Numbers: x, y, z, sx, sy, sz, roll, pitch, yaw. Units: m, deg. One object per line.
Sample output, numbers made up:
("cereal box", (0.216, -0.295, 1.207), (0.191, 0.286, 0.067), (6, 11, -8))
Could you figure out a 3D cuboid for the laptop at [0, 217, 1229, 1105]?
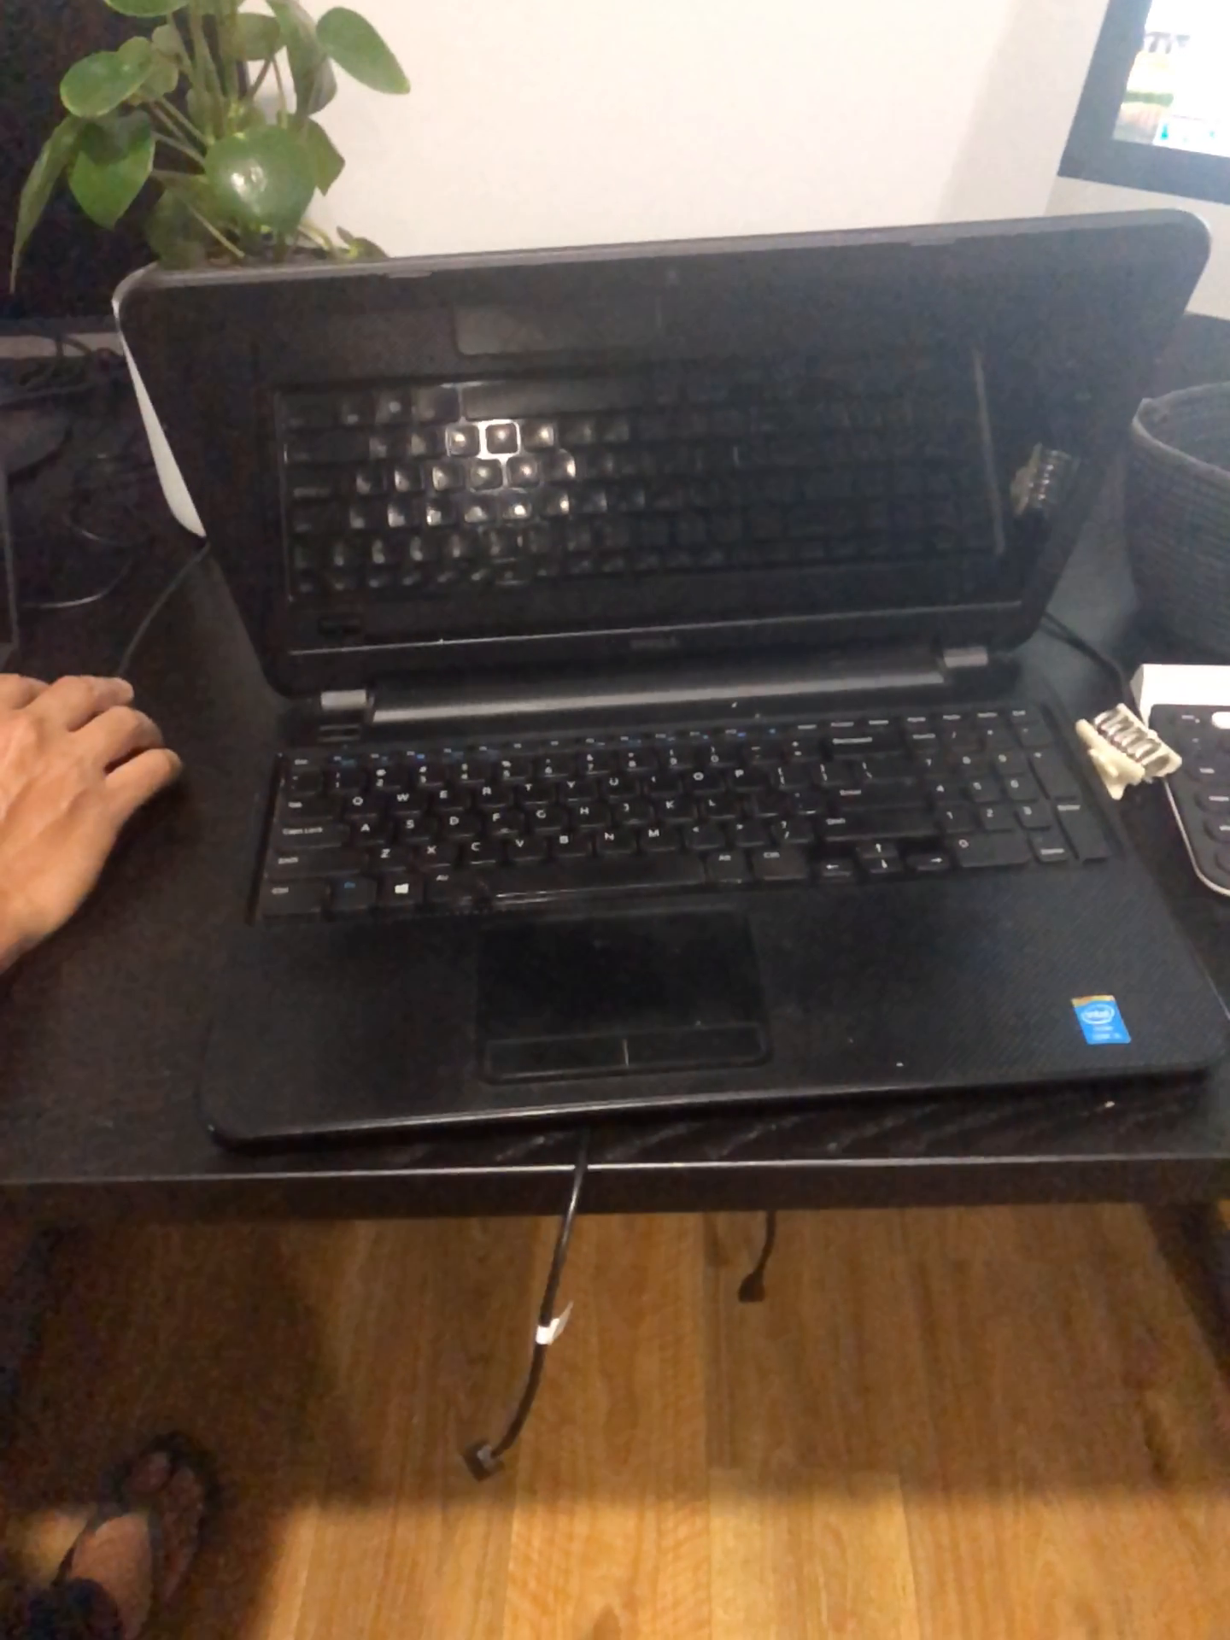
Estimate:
("laptop", (0.019, -0.060, 0.485), (0.366, 0.210, 0.207), (-3, 41, -1))
